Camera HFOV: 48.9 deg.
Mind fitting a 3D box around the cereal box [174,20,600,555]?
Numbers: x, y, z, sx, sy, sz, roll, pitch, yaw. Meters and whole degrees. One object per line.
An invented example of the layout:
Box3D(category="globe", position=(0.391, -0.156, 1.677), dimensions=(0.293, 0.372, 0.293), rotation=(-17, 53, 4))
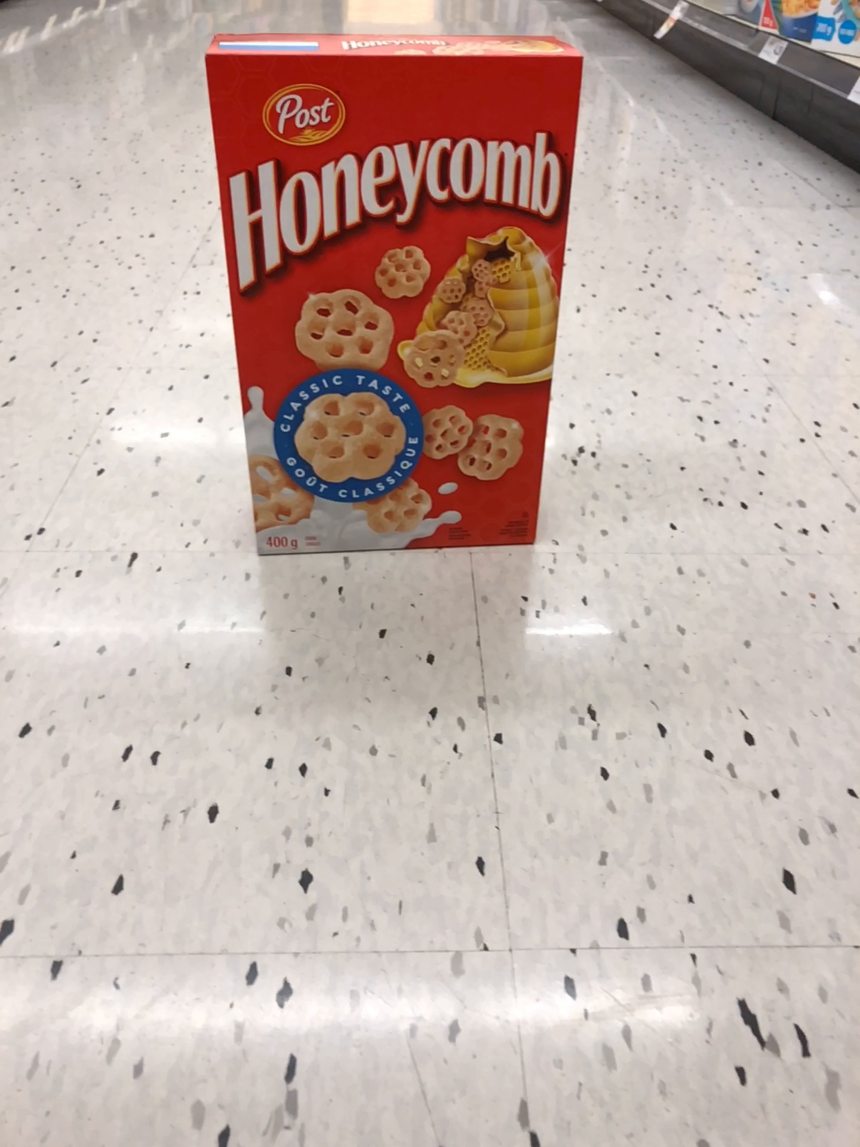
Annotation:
Box3D(category="cereal box", position=(-0.027, -0.165, 0.588), dimensions=(0.210, 0.298, 0.091), rotation=(-3, 36, -6))
